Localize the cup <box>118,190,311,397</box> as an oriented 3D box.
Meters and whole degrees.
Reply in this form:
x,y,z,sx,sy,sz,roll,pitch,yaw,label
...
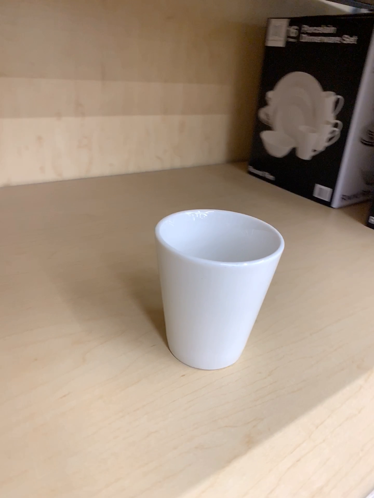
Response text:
x,y,z,sx,sy,sz,roll,pitch,yaw,label
0.025,0.023,0.310,0.093,0.090,0.129,22,31,24,cup
